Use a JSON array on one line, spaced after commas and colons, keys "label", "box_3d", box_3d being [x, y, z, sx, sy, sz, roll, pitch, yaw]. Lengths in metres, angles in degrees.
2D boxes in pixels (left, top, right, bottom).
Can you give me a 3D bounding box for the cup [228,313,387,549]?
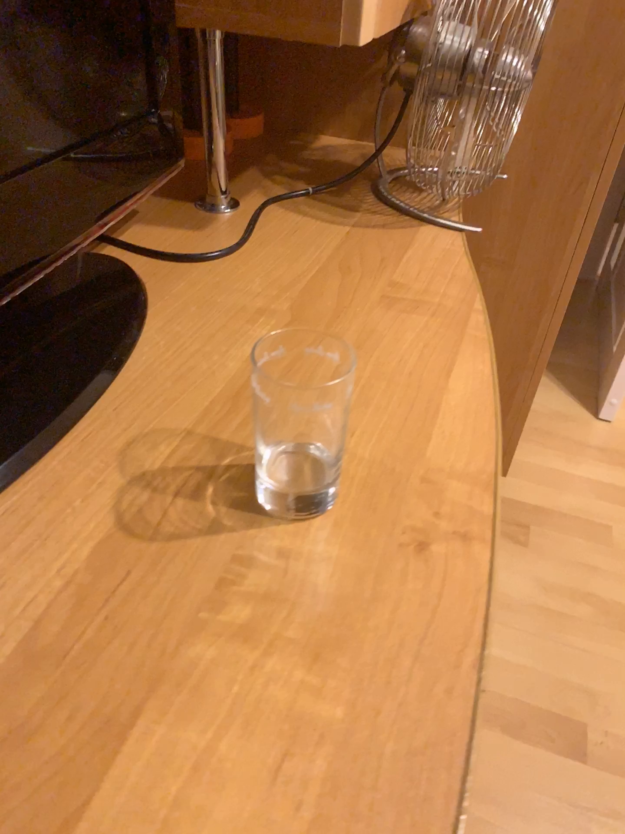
[{"label": "cup", "box_3d": [-0.003, 0.008, 0.348, 0.060, 0.098, 0.061, 2, 39, -2]}]
